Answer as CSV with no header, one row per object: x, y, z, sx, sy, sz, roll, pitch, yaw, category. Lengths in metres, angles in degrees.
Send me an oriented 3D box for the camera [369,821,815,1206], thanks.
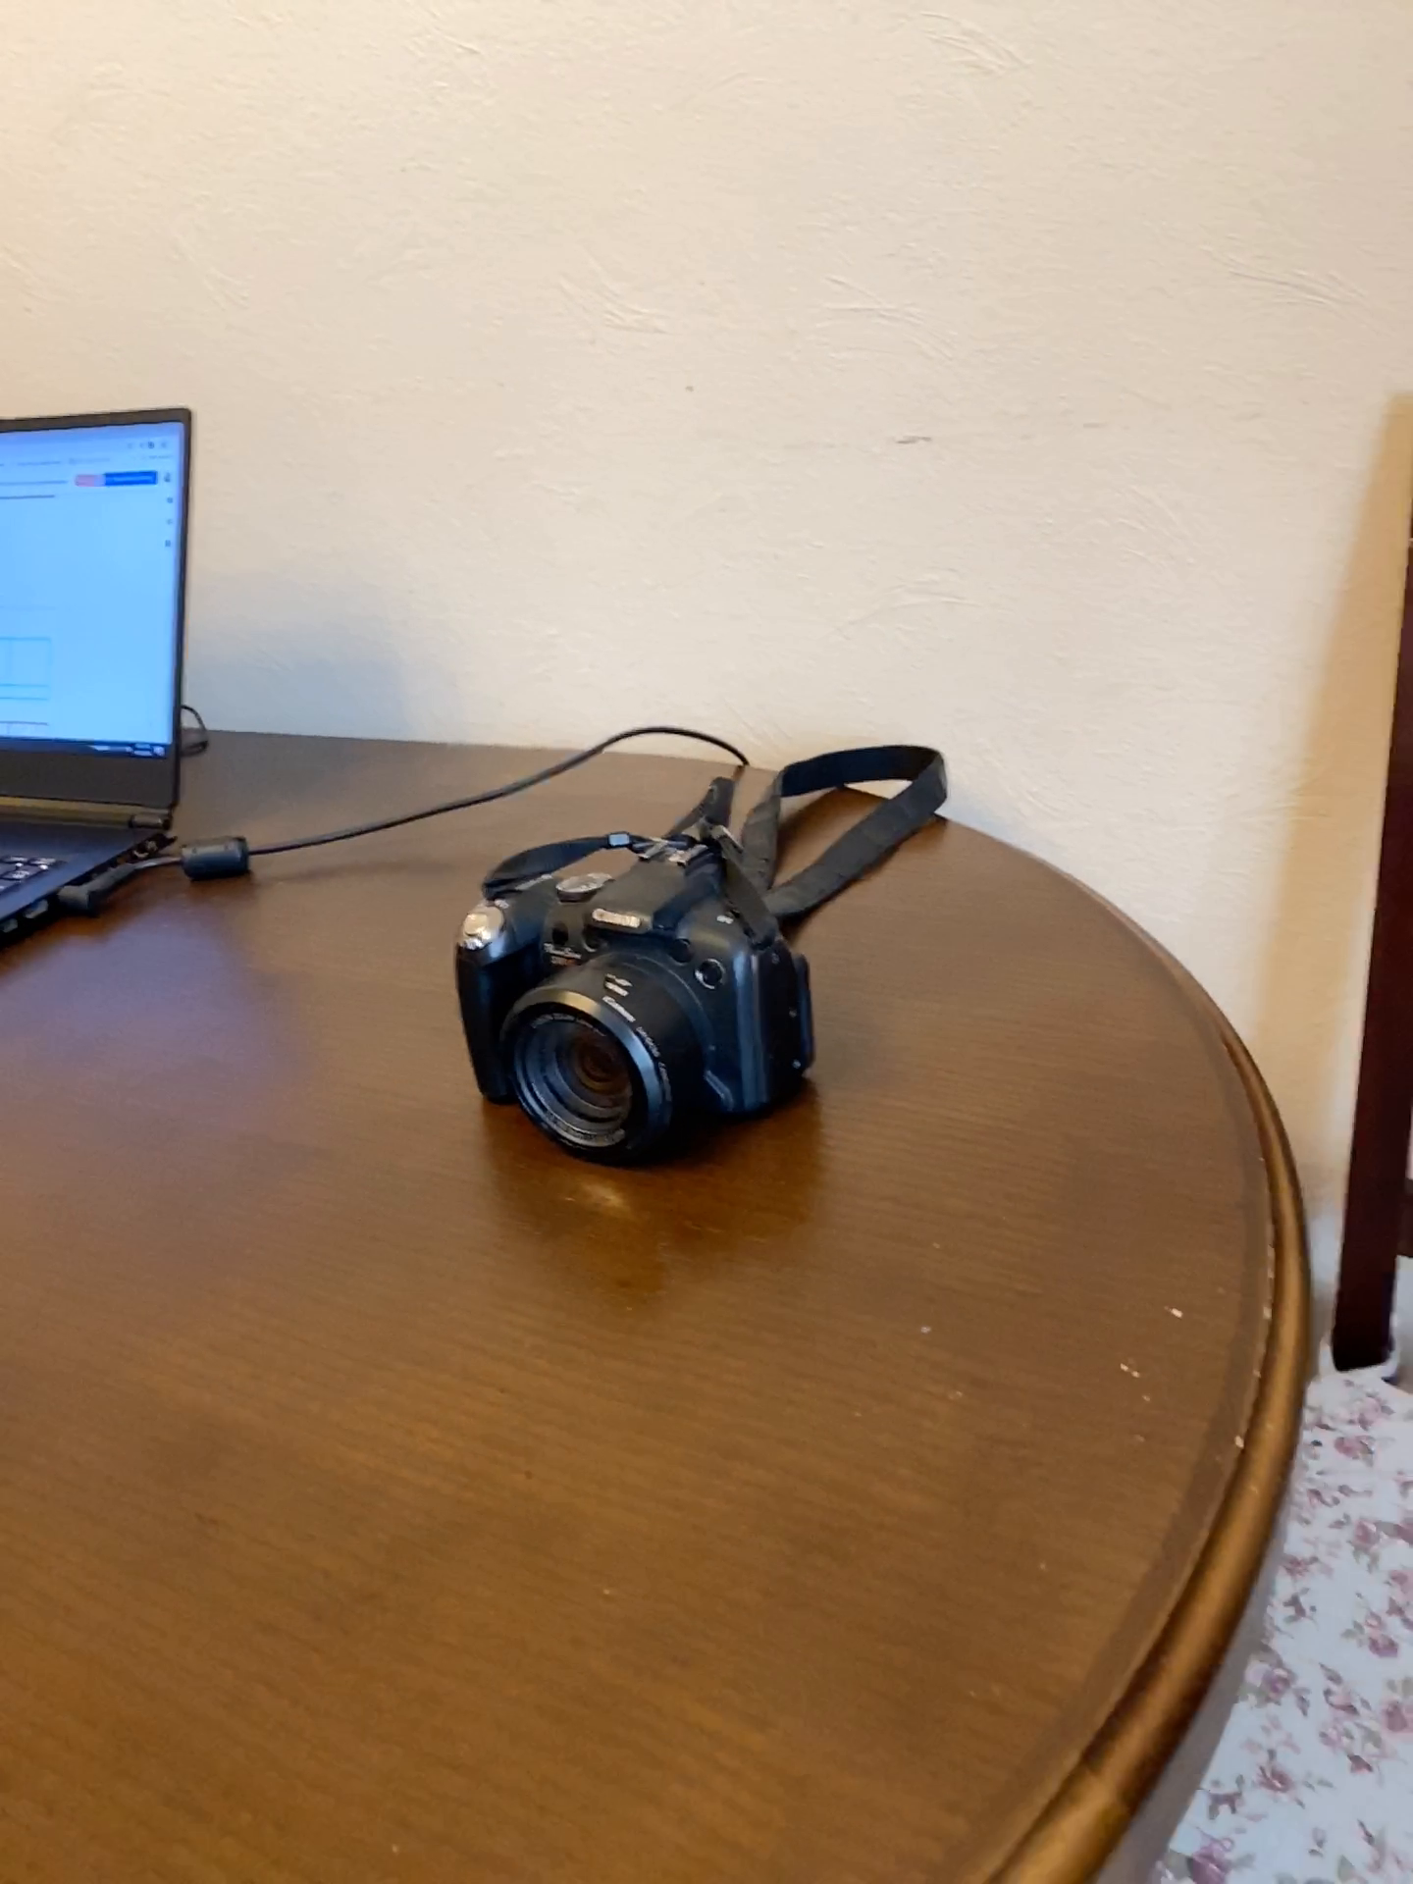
-0.038,0.019,0.508,0.123,0.088,0.082,10,28,30,camera
